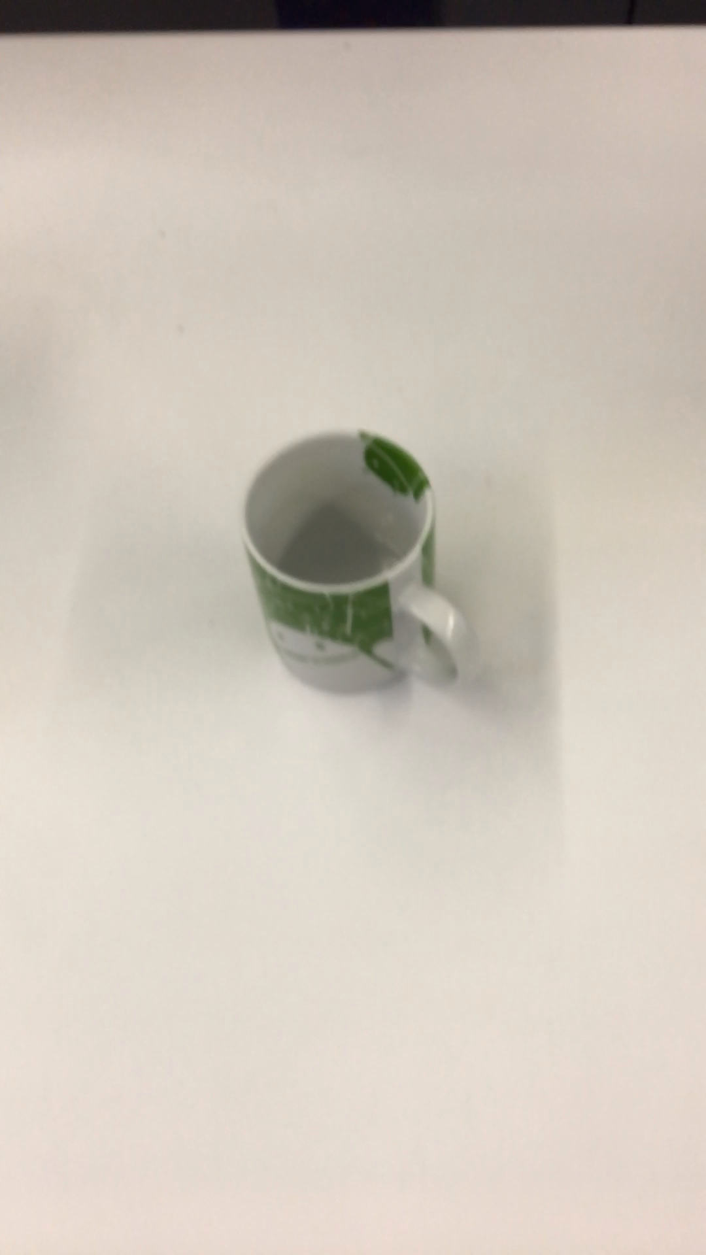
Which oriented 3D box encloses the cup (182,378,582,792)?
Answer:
[{"bbox_3d":[0.013,-0.017,0.437,0.120,0.090,0.090,36,69,21],"label":"cup"}]
